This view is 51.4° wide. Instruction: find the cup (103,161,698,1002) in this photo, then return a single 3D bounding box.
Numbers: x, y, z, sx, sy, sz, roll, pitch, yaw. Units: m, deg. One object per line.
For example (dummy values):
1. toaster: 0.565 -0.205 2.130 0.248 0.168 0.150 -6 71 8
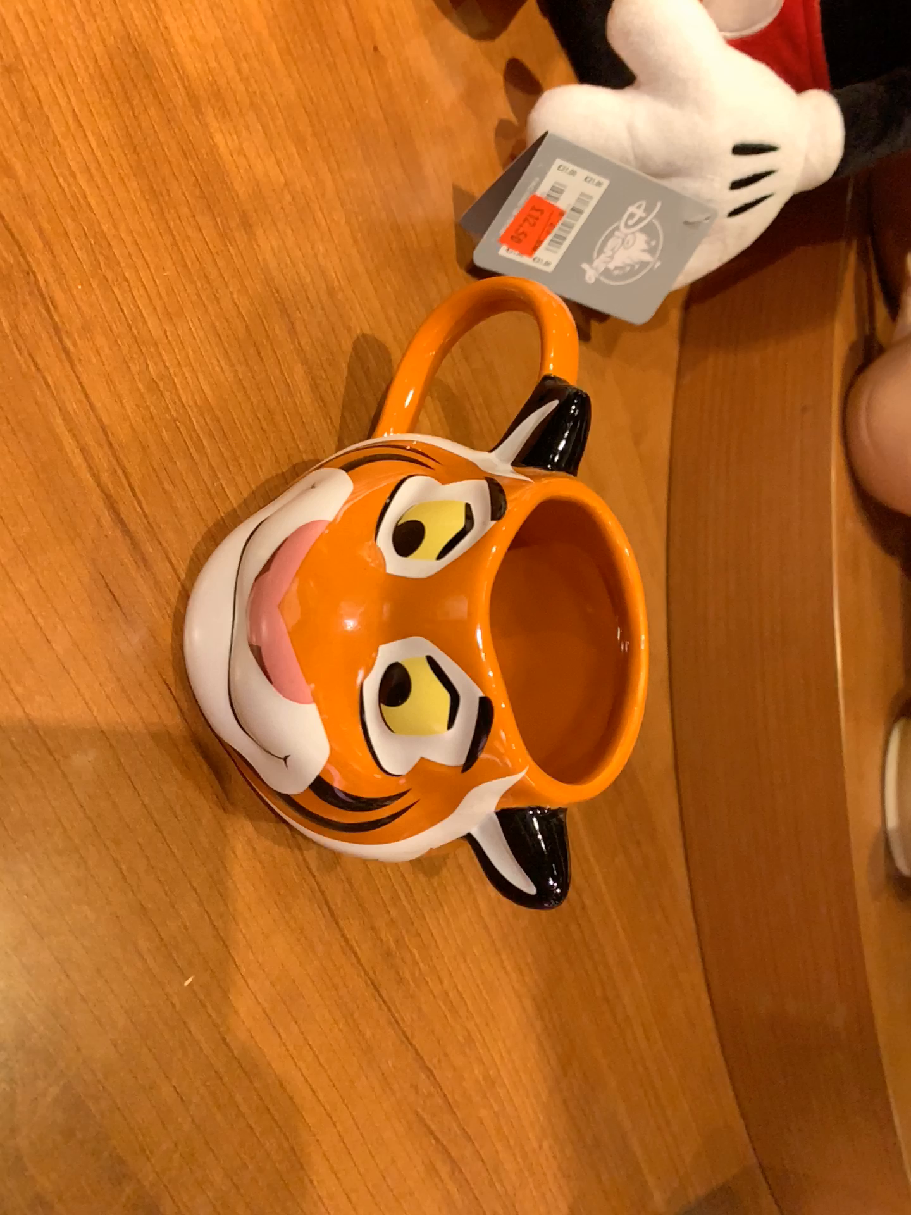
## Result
1. cup: -0.005 0.001 0.232 0.107 0.086 0.149 16 74 -50
